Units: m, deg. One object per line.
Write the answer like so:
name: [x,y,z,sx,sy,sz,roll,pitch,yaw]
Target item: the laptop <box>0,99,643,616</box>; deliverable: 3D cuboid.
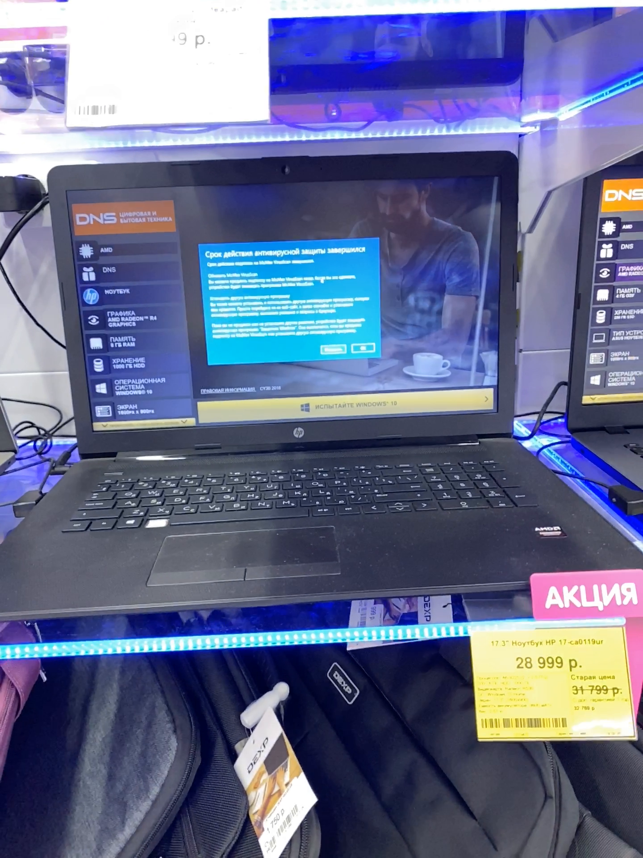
laptop: [-0.028,-0.071,0.491,0.419,0.260,0.295,-3,16,-3]
